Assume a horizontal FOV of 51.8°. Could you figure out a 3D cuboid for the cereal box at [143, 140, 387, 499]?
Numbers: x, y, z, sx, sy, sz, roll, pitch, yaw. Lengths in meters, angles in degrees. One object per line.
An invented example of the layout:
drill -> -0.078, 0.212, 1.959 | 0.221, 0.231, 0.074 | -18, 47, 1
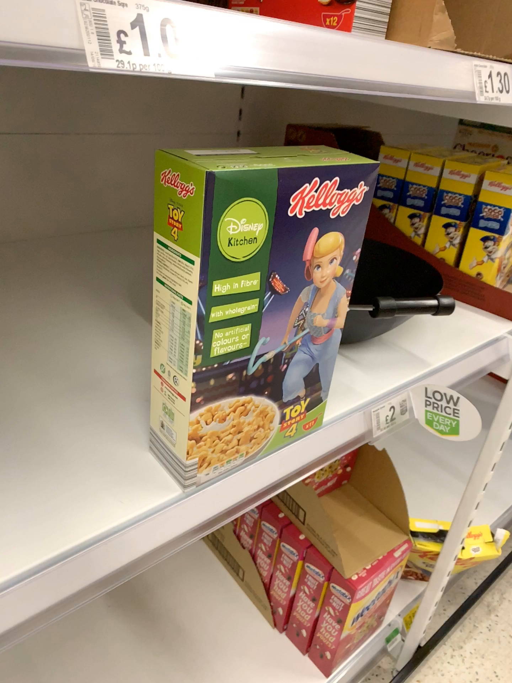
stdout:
cereal box -> 0.000, -0.026, 0.499 | 0.191, 0.297, 0.080 | -17, 36, -38
